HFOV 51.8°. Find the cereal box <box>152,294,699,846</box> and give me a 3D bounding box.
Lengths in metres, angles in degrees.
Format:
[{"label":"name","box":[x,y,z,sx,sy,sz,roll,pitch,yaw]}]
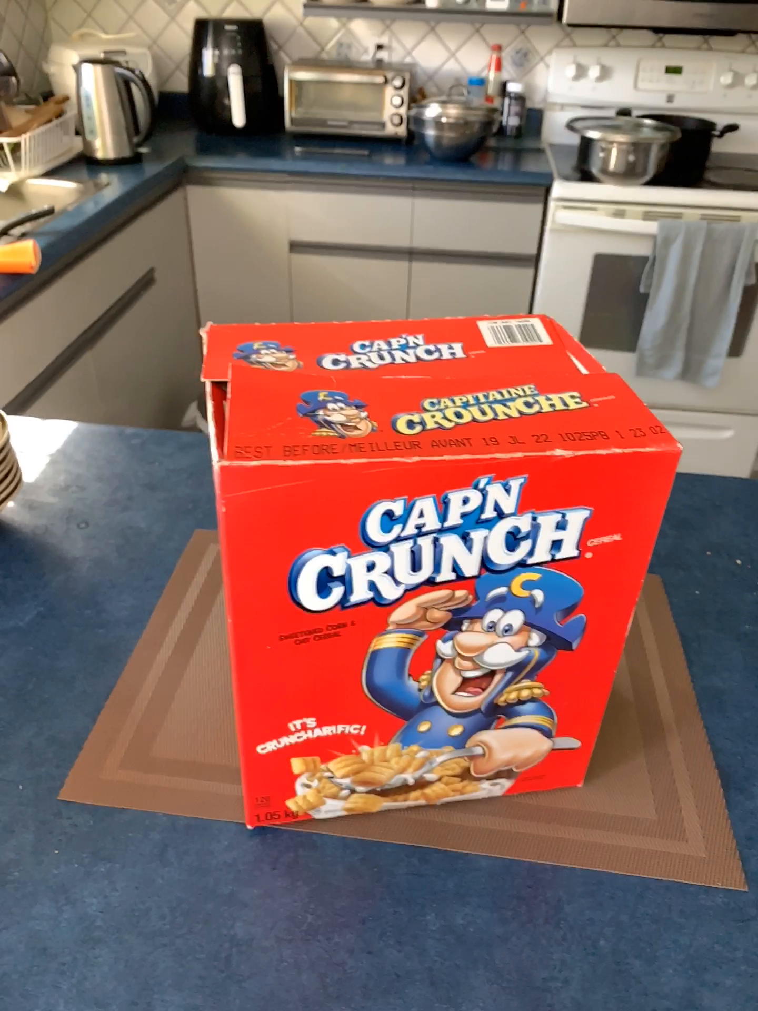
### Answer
[{"label":"cereal box","box":[0.009,0.037,0.546,0.270,0.297,0.212,-4,34,-8]}]
